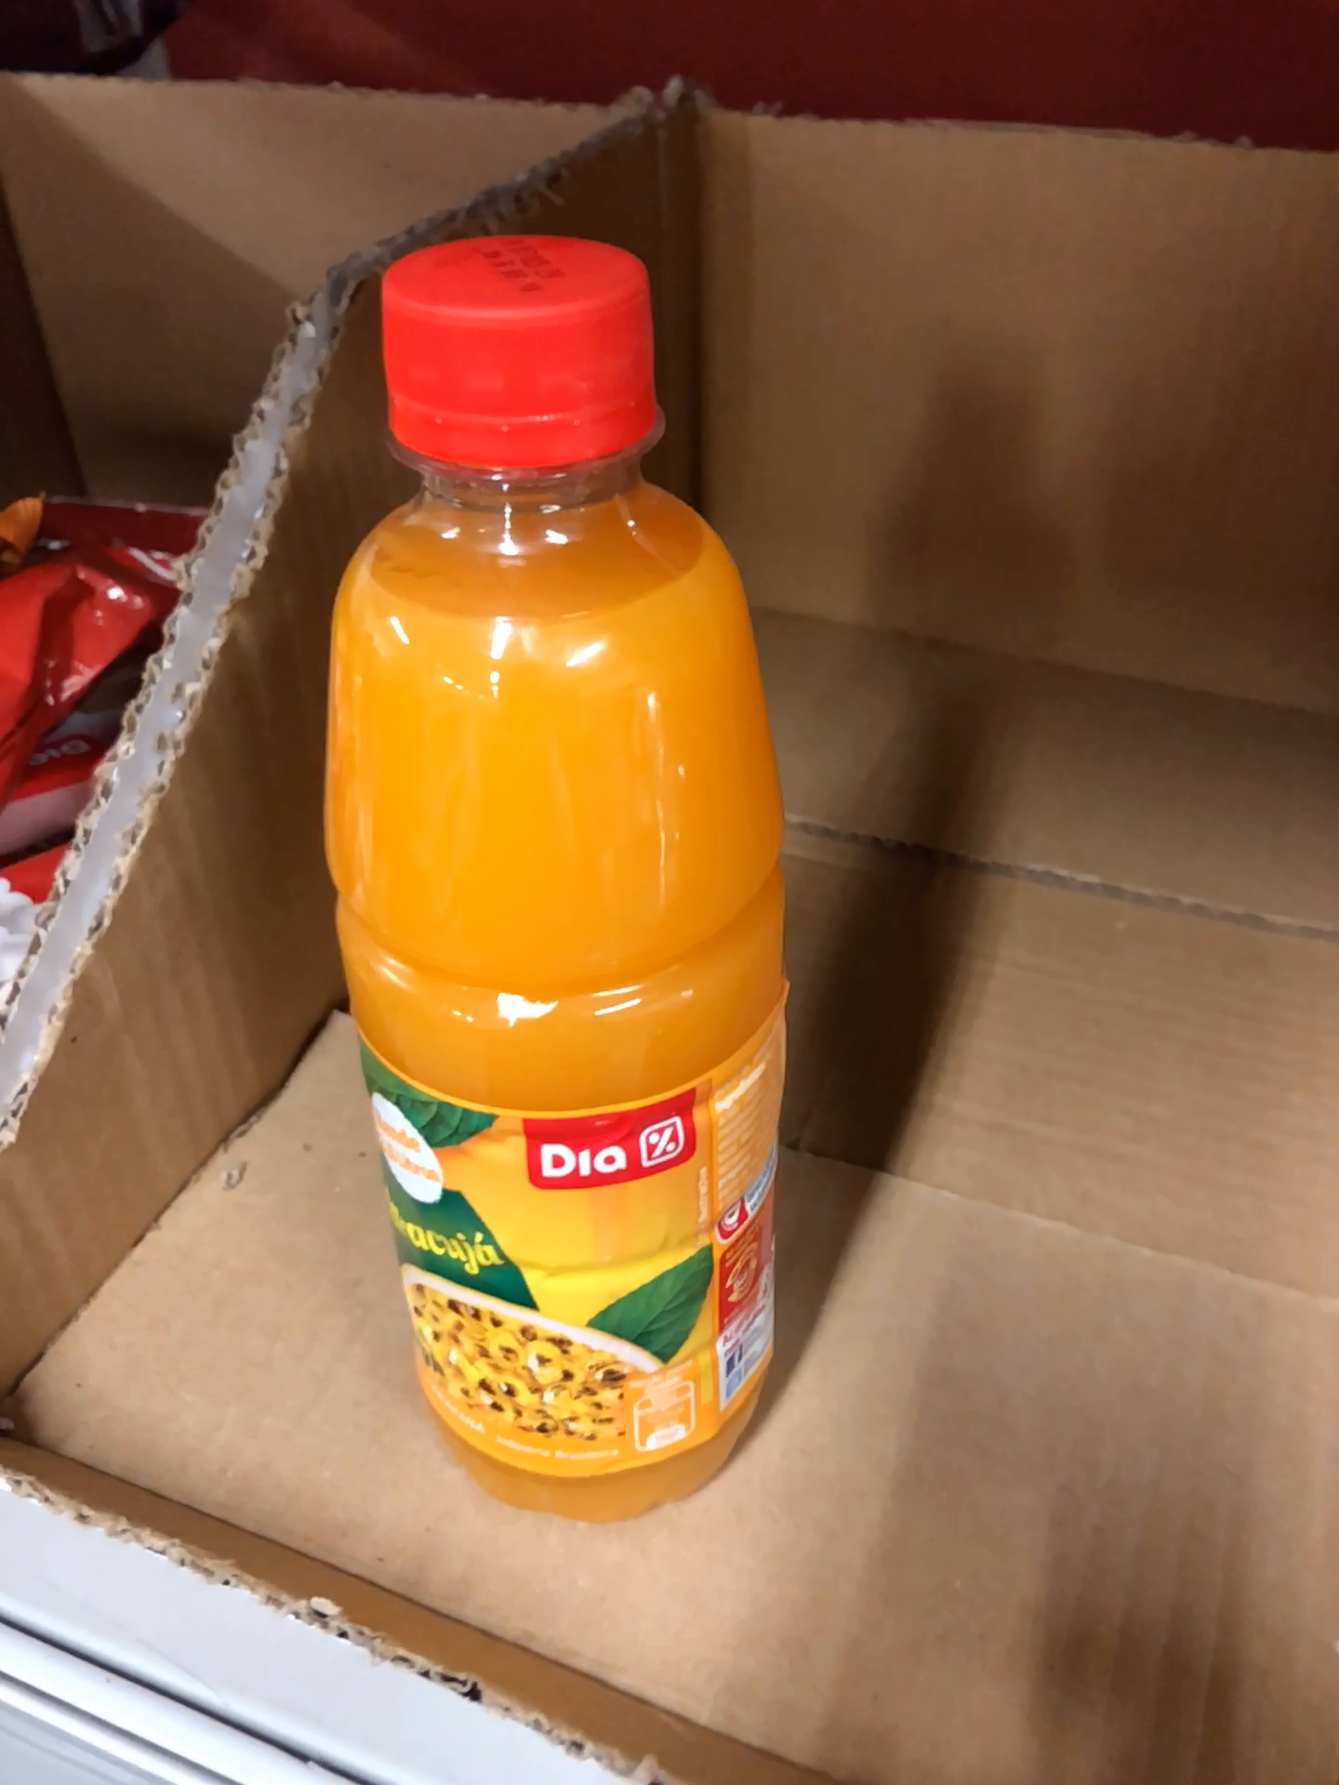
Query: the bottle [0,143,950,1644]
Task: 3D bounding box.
[{"bbox_3d":[-0.015,0.011,0.216,0.070,0.198,0.070,-1,38,1],"label":"bottle"}]
